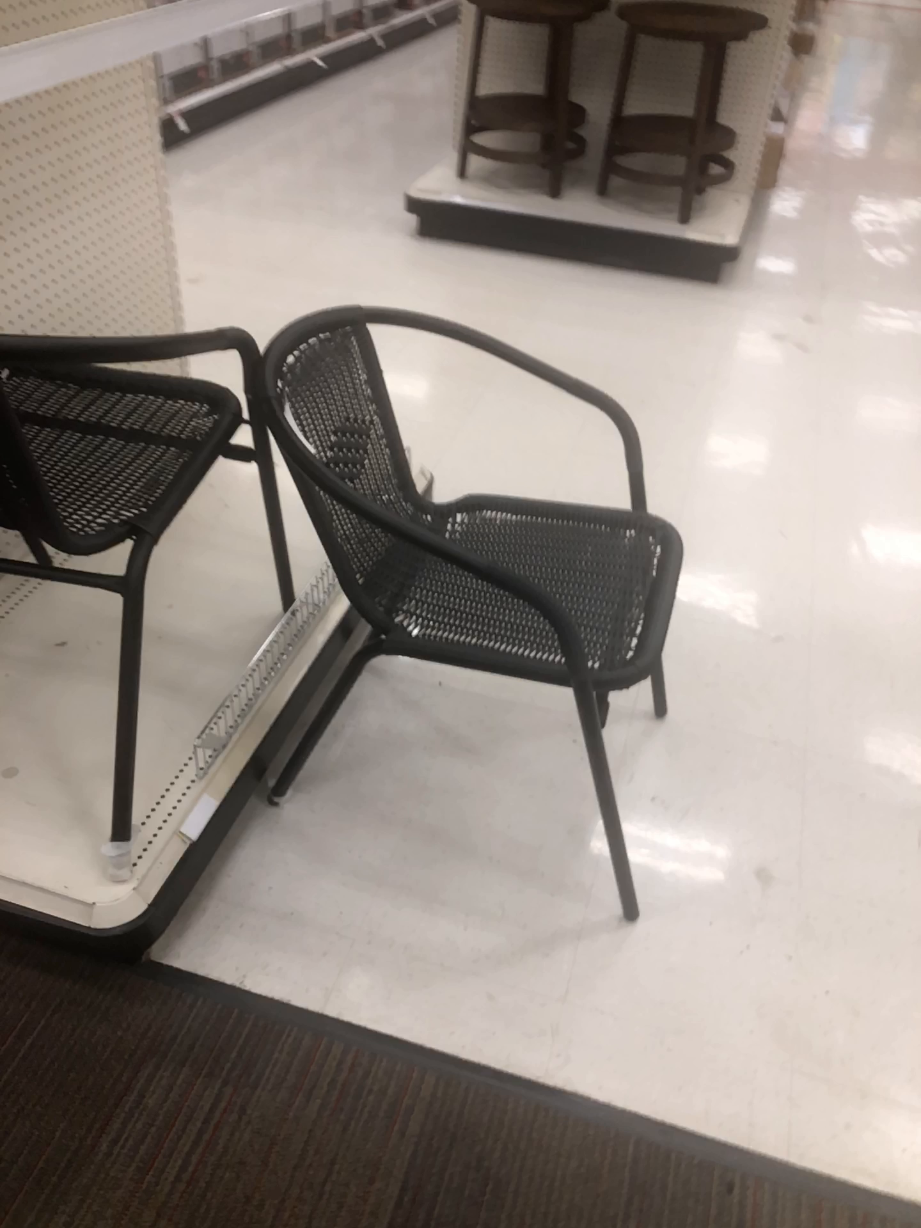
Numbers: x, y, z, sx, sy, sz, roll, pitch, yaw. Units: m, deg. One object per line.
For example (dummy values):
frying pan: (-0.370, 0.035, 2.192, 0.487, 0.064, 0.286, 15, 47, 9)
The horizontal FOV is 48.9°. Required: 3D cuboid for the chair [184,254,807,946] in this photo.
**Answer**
chair: (0.073, -0.045, 1.444, 0.640, 0.696, 0.533, 12, 37, 13)
